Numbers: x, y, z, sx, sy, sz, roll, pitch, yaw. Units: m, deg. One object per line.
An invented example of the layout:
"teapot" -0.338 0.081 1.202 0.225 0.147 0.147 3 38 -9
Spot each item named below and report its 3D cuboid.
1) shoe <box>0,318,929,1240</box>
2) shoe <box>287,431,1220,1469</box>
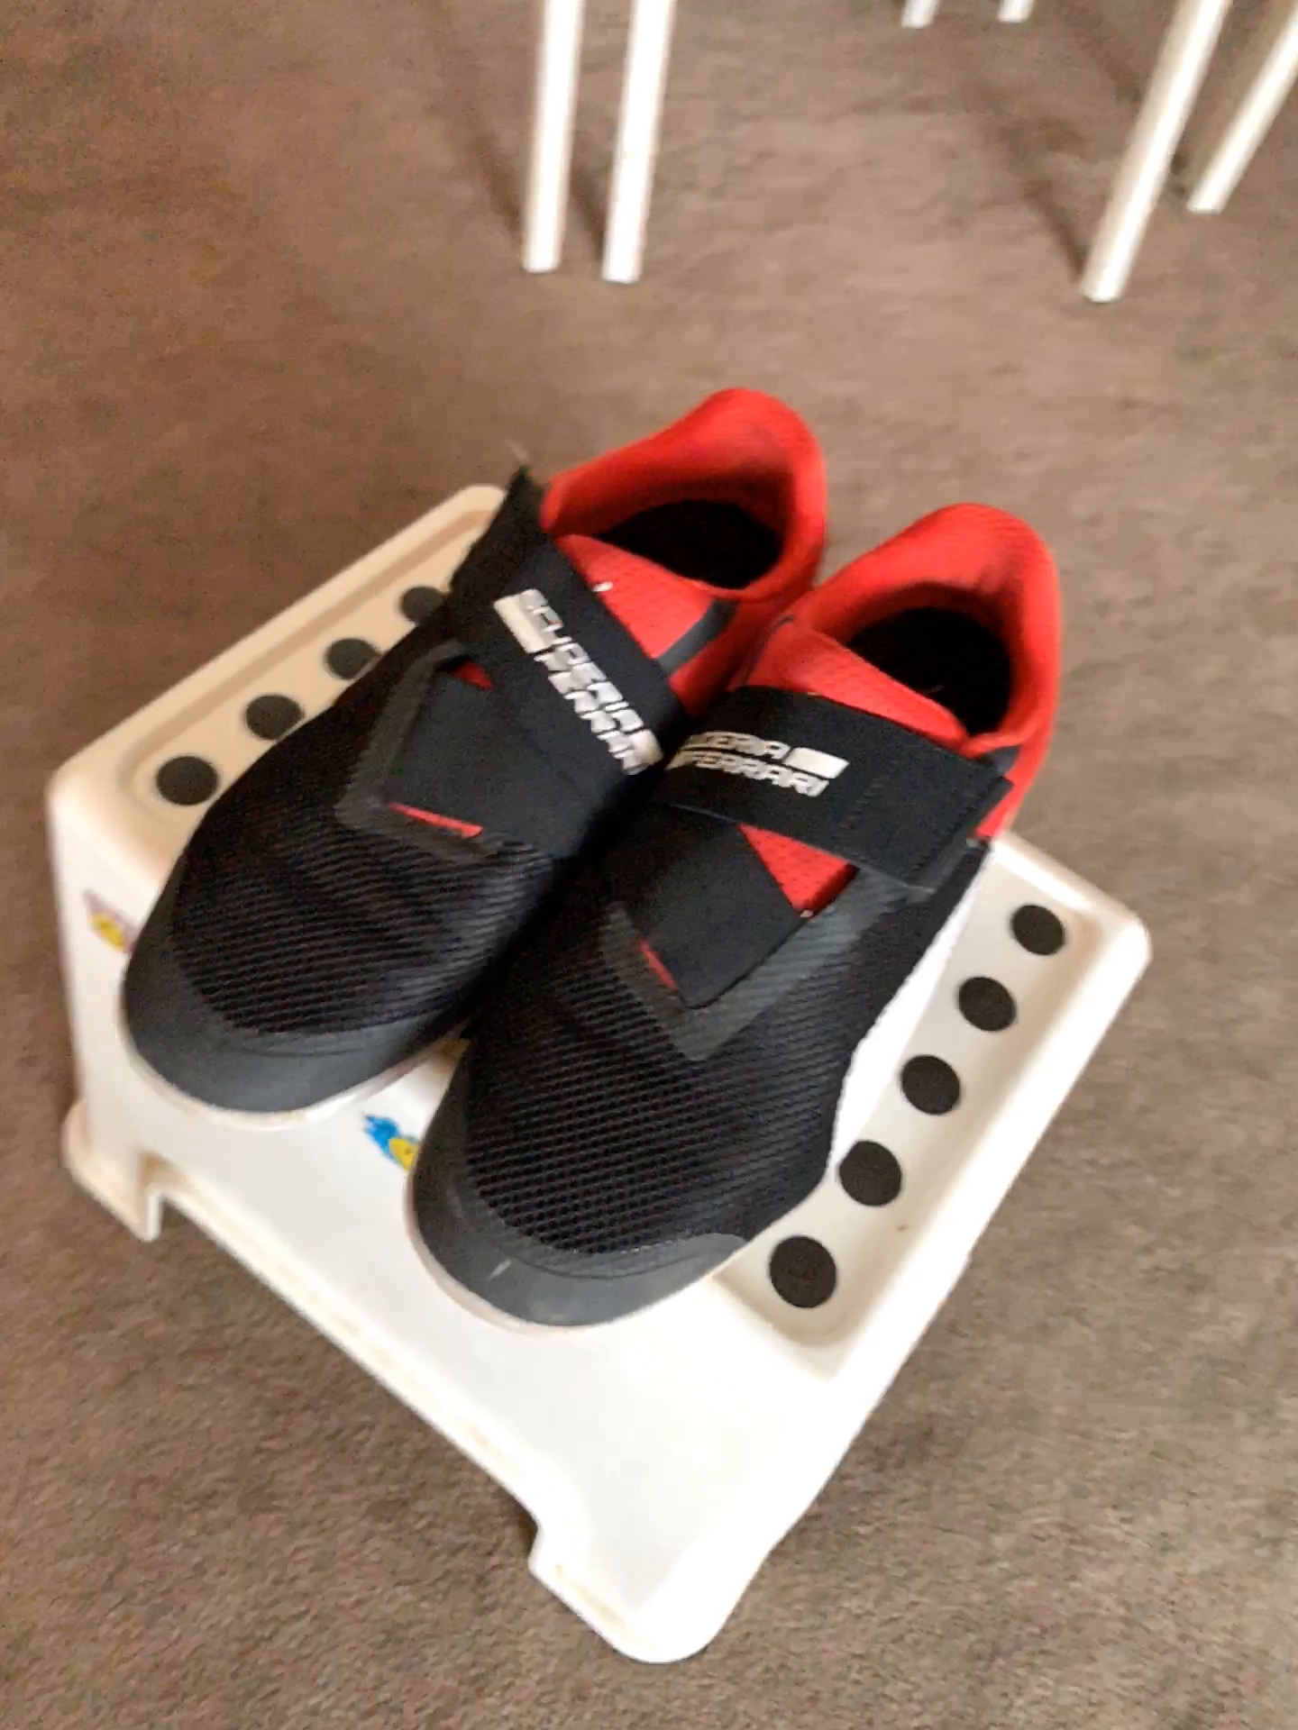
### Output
"shoe" -0.040 -0.044 0.428 0.100 0.099 0.302 35 57 12
"shoe" 0.044 0.006 0.403 0.110 0.099 0.302 35 57 12
